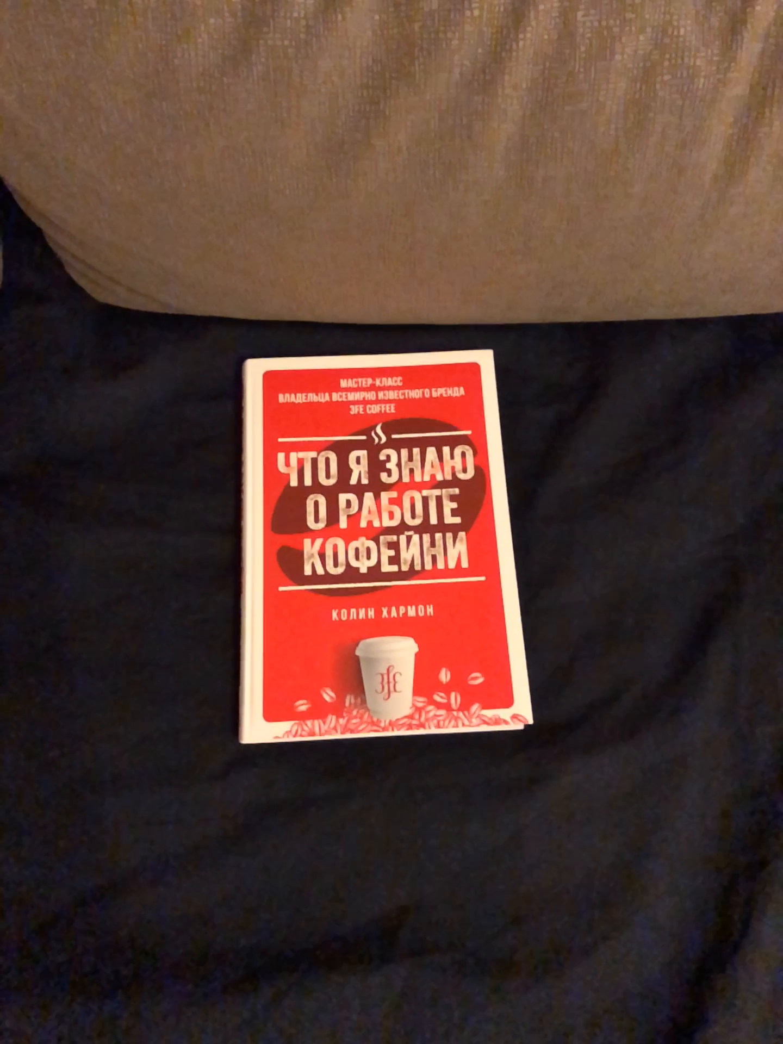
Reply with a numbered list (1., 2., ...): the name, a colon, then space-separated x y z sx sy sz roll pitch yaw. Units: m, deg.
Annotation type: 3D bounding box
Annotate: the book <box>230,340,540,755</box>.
1. book: -0.009 0.007 0.470 0.153 0.020 0.223 -3 71 0
